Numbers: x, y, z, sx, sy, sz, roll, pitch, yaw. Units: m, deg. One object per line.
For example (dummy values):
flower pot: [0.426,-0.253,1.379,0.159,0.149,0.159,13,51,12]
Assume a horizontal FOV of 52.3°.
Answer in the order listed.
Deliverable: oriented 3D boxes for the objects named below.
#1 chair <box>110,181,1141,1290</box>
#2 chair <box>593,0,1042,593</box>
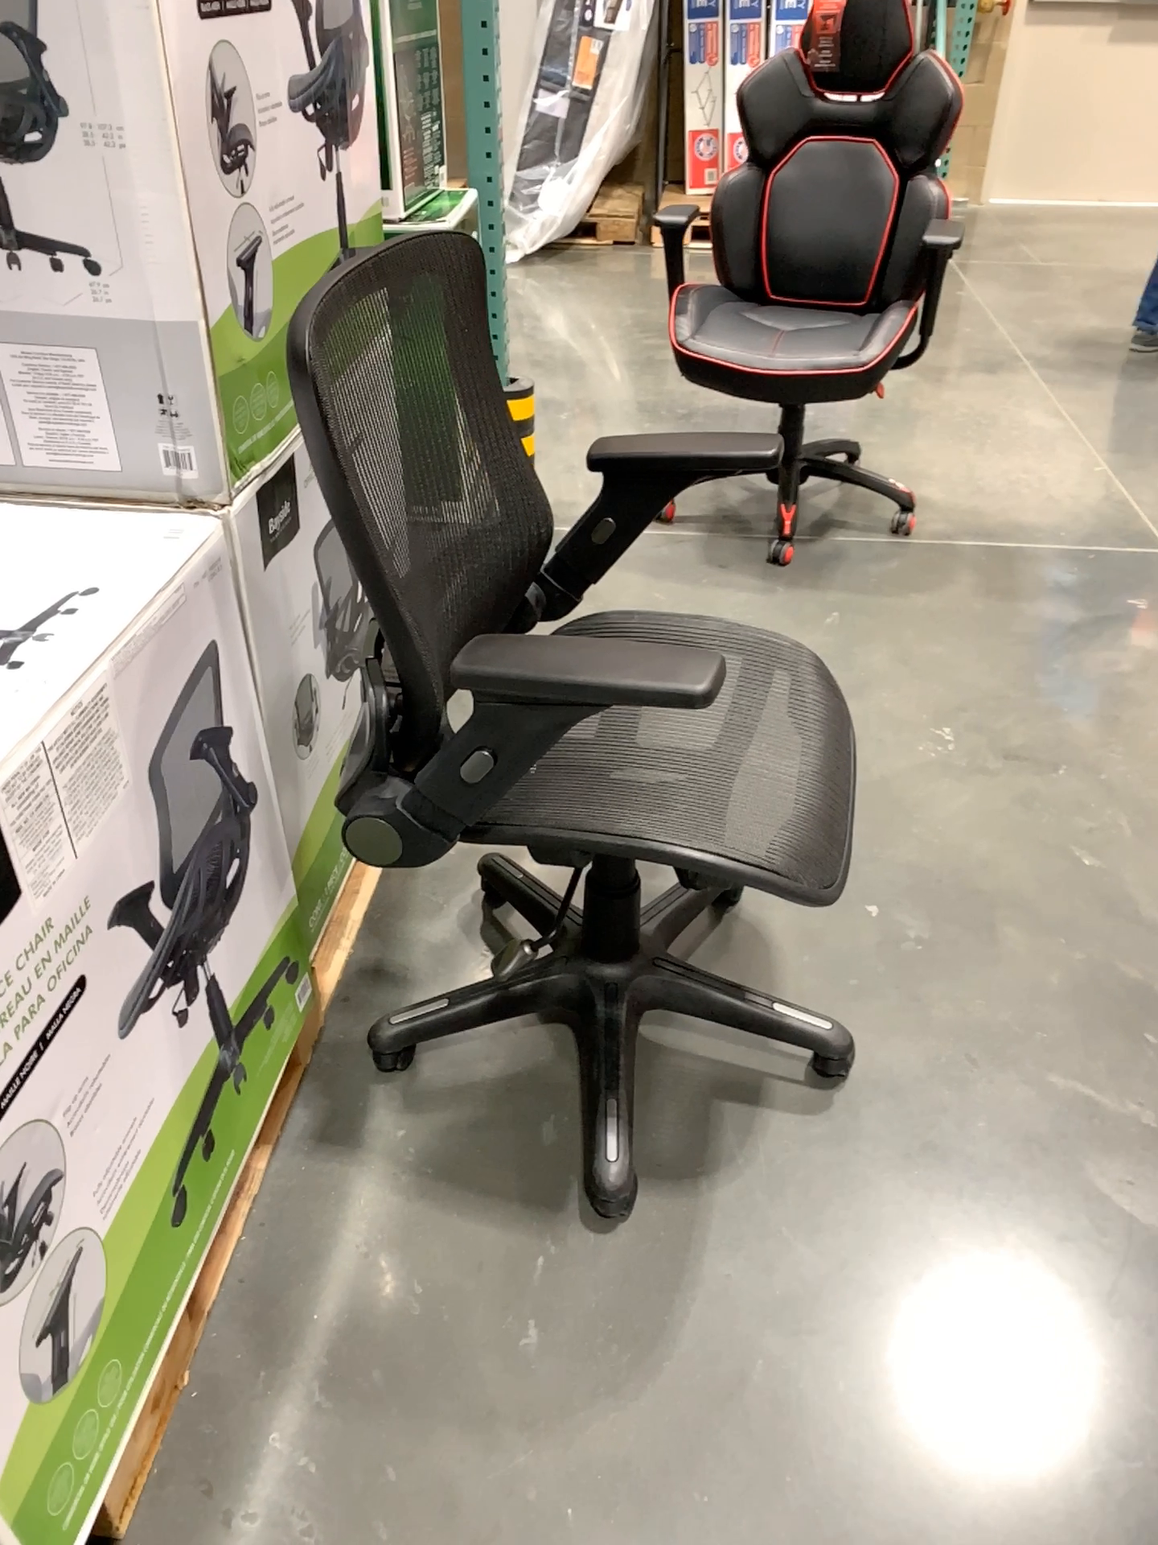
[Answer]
chair: [0.082,-0.071,1.374,0.735,0.987,0.678,8,36,12]
chair: [0.550,-1.205,2.774,0.756,1.146,0.970,11,37,16]
